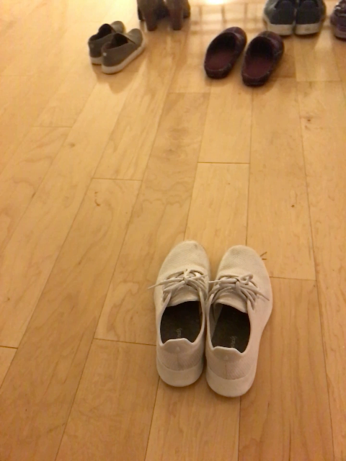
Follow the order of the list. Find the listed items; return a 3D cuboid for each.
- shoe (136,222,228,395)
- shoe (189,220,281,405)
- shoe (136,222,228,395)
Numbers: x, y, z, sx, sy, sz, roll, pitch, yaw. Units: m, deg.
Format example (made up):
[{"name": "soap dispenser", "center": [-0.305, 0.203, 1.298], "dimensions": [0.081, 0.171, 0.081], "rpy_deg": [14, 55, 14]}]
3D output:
[{"name": "shoe", "center": [0.026, 0.120, 0.648], "dimensions": [0.130, 0.089, 0.282], "rpy_deg": [0, 50, 7]}, {"name": "shoe", "center": [0.108, 0.115, 0.610], "dimensions": [0.120, 0.070, 0.282], "rpy_deg": [4, 50, 10]}, {"name": "shoe", "center": [0.026, 0.120, 0.648], "dimensions": [0.130, 0.089, 0.282], "rpy_deg": [0, 50, 7]}]
